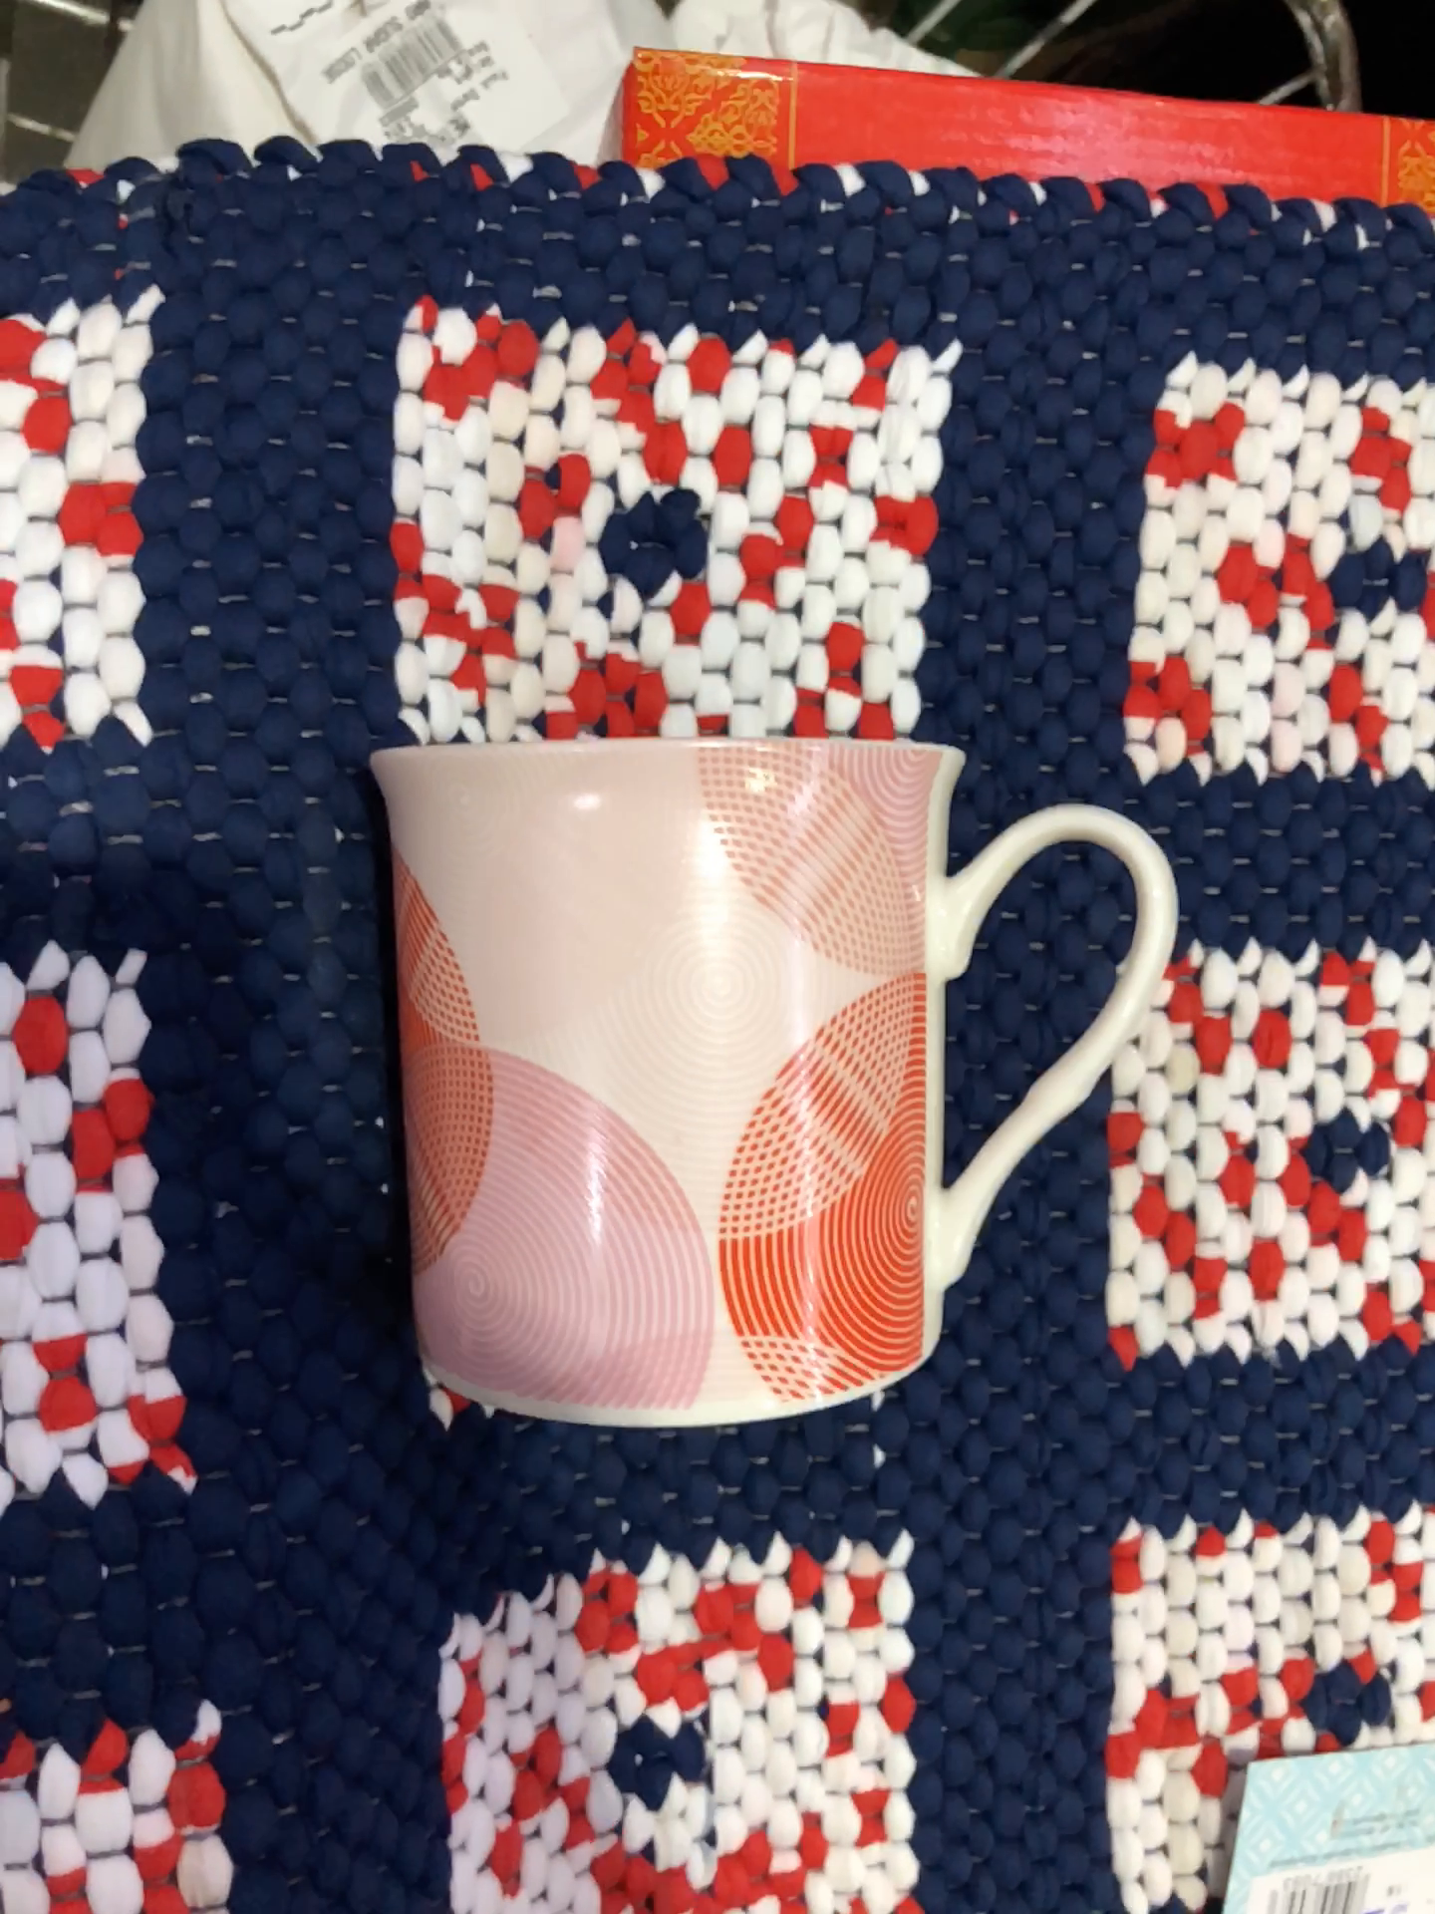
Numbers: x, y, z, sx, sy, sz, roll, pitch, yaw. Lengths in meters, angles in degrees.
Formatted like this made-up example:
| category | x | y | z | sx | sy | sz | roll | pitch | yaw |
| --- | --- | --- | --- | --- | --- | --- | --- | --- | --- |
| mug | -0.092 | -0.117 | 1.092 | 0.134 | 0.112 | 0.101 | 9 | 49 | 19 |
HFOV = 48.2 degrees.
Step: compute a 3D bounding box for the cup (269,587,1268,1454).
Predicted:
| category | x | y | z | sx | sy | sz | roll | pitch | yaw |
| --- | --- | --- | --- | --- | --- | --- | --- | --- | --- |
| cup | 0.013 | 0.009 | 0.246 | 0.120 | 0.100 | 0.100 | -3 | 90 | 12 |
